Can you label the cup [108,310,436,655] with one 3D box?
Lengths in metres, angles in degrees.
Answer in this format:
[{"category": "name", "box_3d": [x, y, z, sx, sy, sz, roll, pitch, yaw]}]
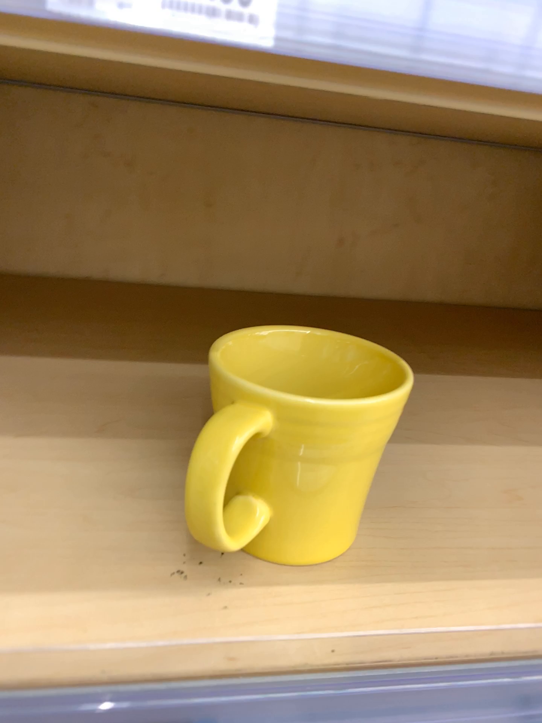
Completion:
[{"category": "cup", "box_3d": [0.007, 0.041, 0.283, 0.103, 0.088, 0.139, 16, 23, 24]}]
